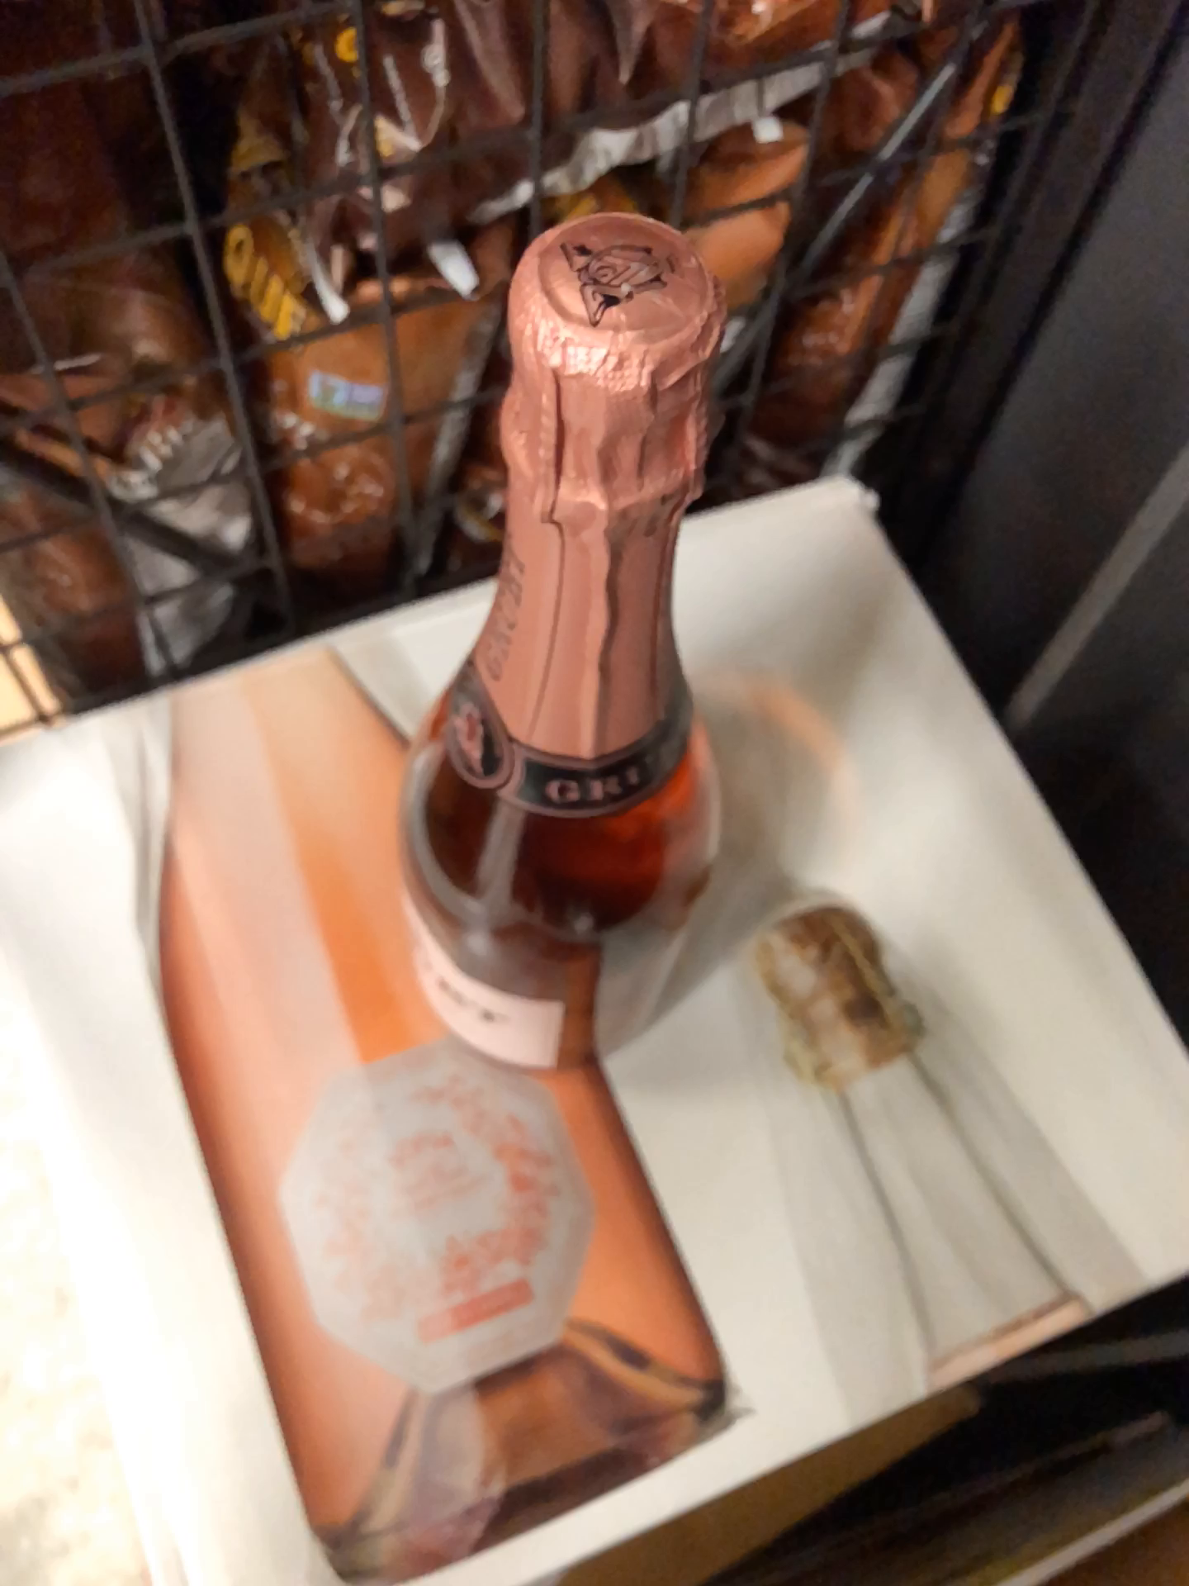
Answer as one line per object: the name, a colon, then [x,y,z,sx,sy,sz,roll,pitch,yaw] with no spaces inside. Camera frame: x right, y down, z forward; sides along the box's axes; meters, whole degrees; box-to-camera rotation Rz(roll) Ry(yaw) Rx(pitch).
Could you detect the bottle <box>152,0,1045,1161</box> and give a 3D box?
bottle: [-0.011,-0.005,0.325,0.090,0.312,0.090,2,63,-4]
